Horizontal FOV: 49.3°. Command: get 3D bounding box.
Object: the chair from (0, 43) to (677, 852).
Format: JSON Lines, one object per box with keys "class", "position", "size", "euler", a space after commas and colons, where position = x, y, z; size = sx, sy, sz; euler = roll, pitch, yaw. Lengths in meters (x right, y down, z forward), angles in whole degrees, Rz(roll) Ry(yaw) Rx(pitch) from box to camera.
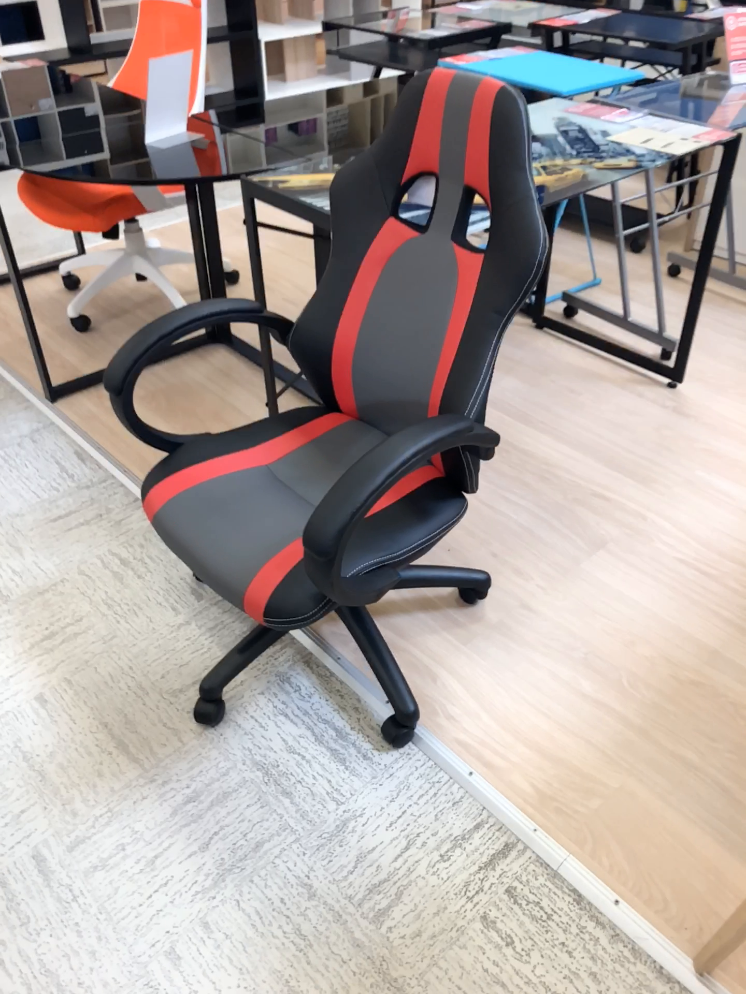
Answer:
{"class": "chair", "position": [-0.102, -0.137, 1.323], "size": [0.693, 0.924, 0.691], "euler": [-28, 45, -31]}
